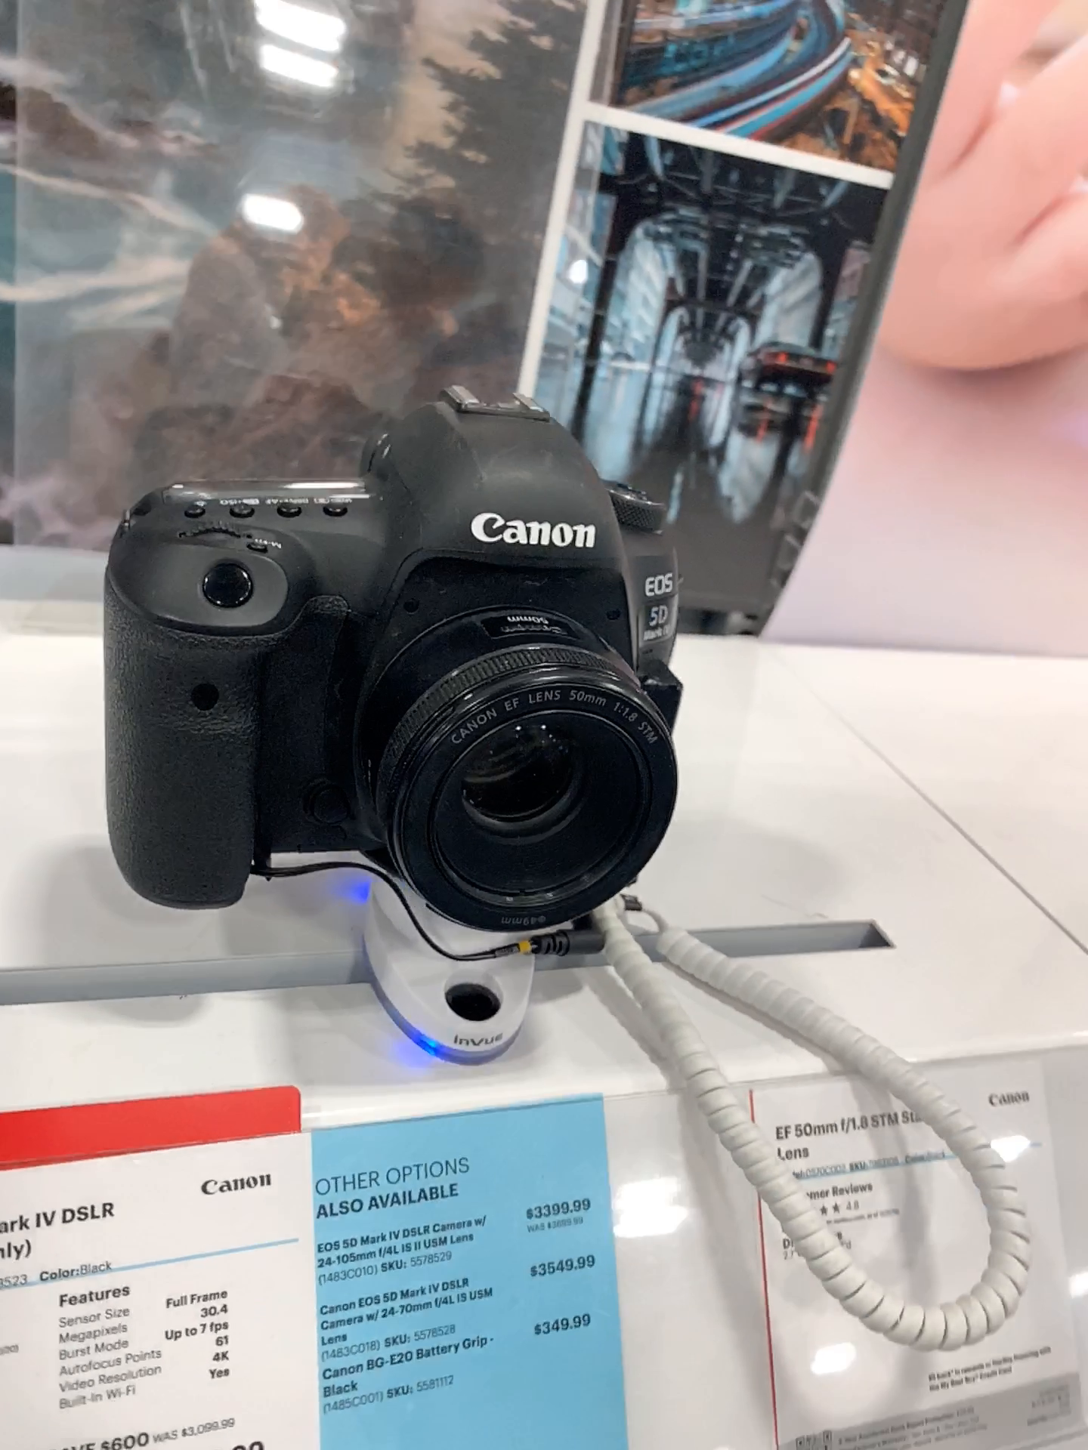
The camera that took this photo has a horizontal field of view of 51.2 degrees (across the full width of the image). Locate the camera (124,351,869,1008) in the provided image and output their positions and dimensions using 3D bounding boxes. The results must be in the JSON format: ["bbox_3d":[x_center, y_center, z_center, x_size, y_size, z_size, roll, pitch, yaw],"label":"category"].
[{"bbox_3d":[-0.026,-0.016,0.275,0.140,0.106,0.112,1,29,-20],"label":"camera"}]
